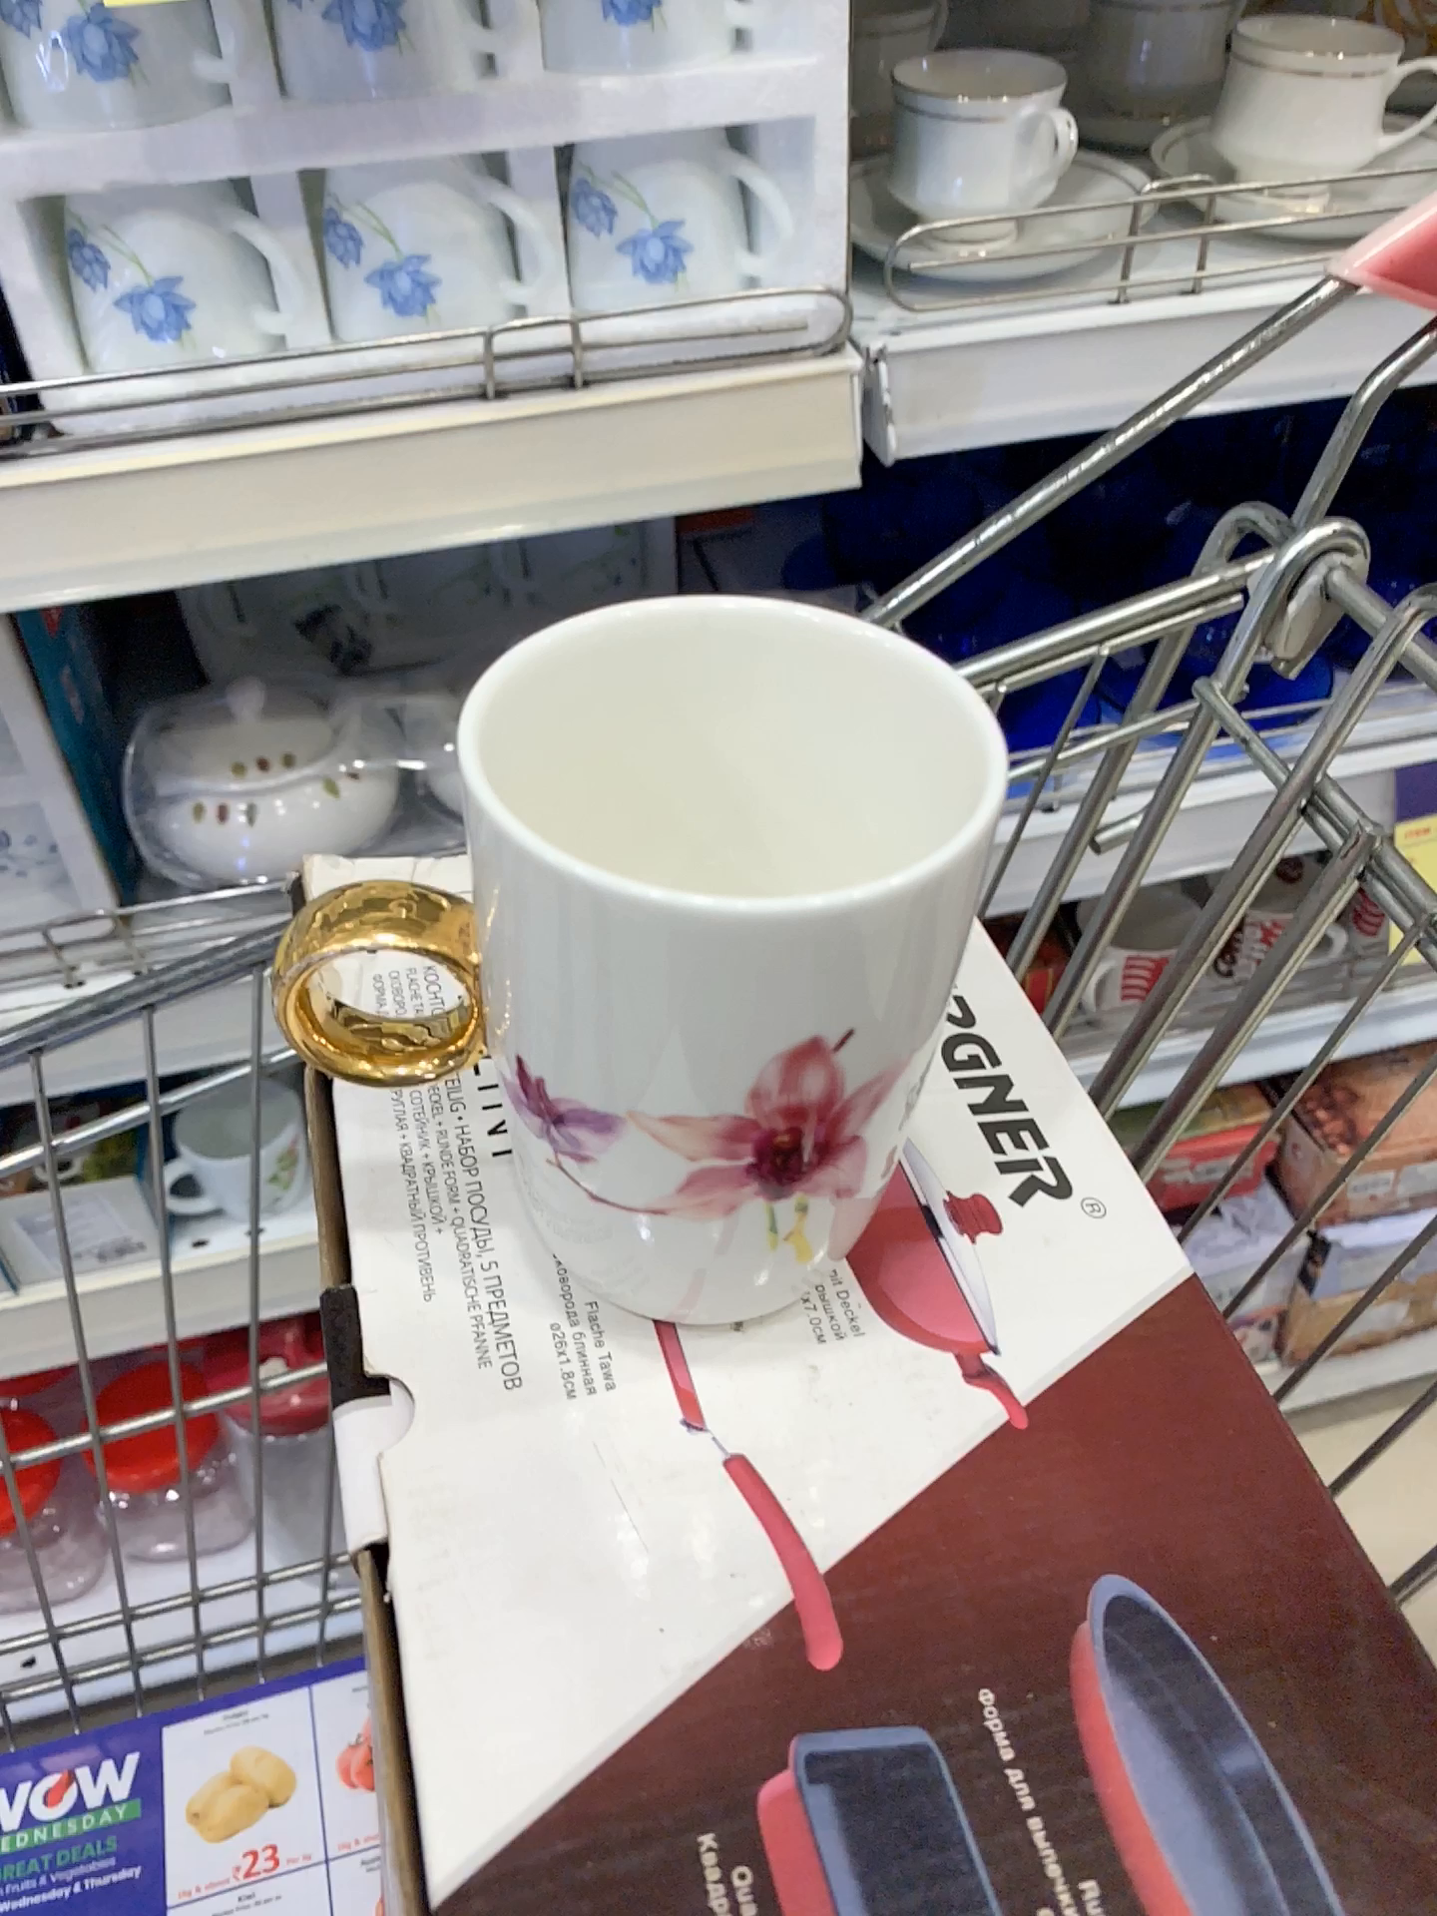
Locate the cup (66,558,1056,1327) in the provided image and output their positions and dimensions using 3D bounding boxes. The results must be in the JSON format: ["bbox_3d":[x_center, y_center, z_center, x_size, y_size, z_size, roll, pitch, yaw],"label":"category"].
[{"bbox_3d":[-0.018,-0.001,0.221,0.110,0.090,0.070,1,43,-1],"label":"cup"}]
